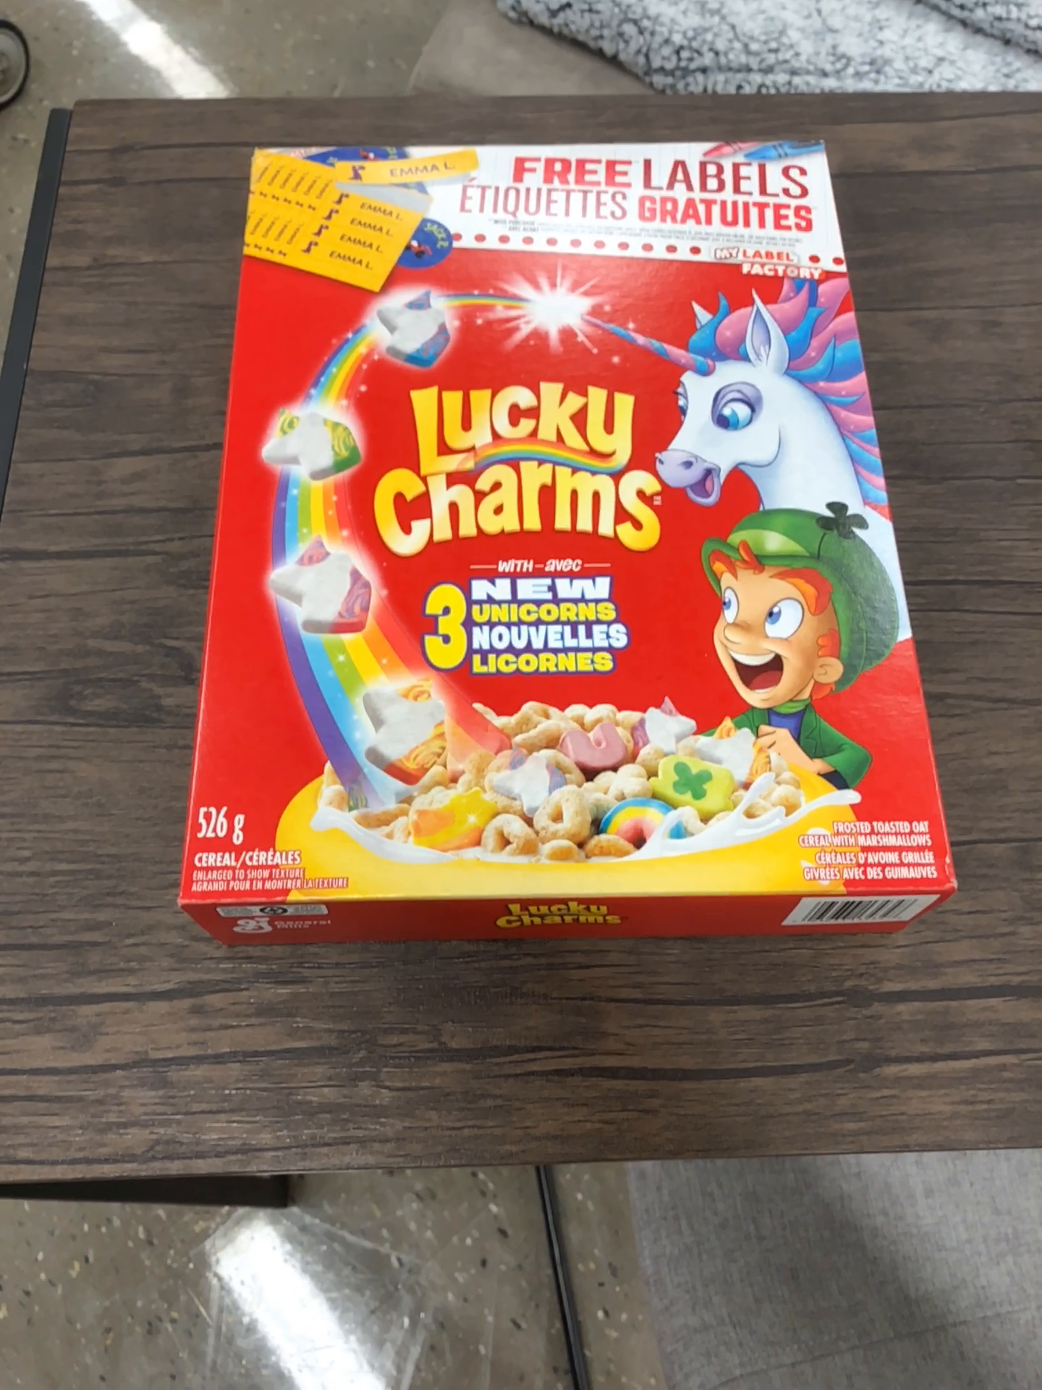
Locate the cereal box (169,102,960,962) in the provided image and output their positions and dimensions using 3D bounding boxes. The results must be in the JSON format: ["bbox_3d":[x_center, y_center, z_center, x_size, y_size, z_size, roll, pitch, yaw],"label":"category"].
[{"bbox_3d":[0.009,-0.075,0.442,0.230,0.080,0.330,-1,65,-1],"label":"cereal box"}]
